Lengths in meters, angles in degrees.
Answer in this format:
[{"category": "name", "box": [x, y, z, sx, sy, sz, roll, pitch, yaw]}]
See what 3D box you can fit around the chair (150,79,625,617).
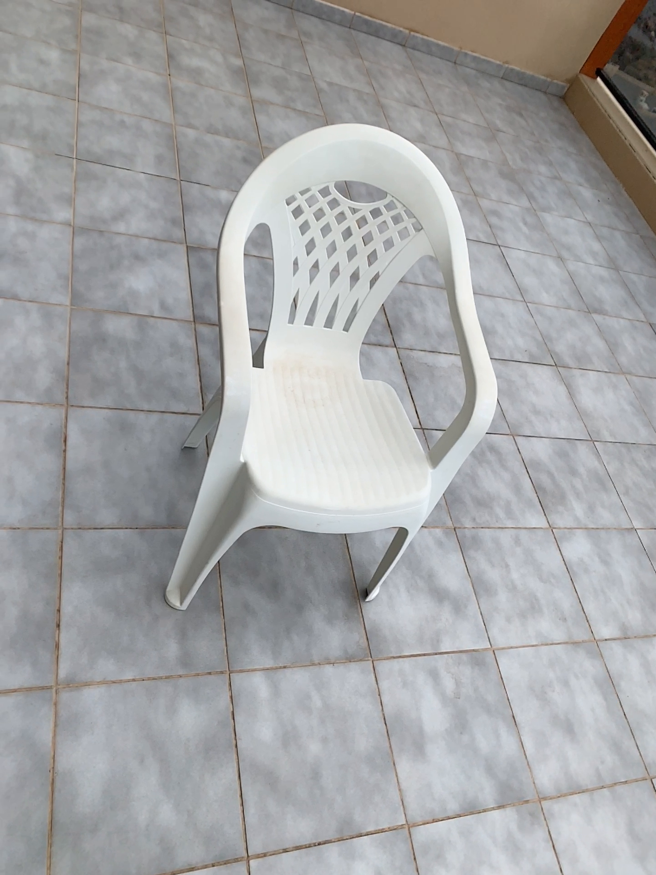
[{"category": "chair", "box": [-0.007, -0.096, 1.362, 0.544, 0.823, 0.611, 4, 53, -24]}]
